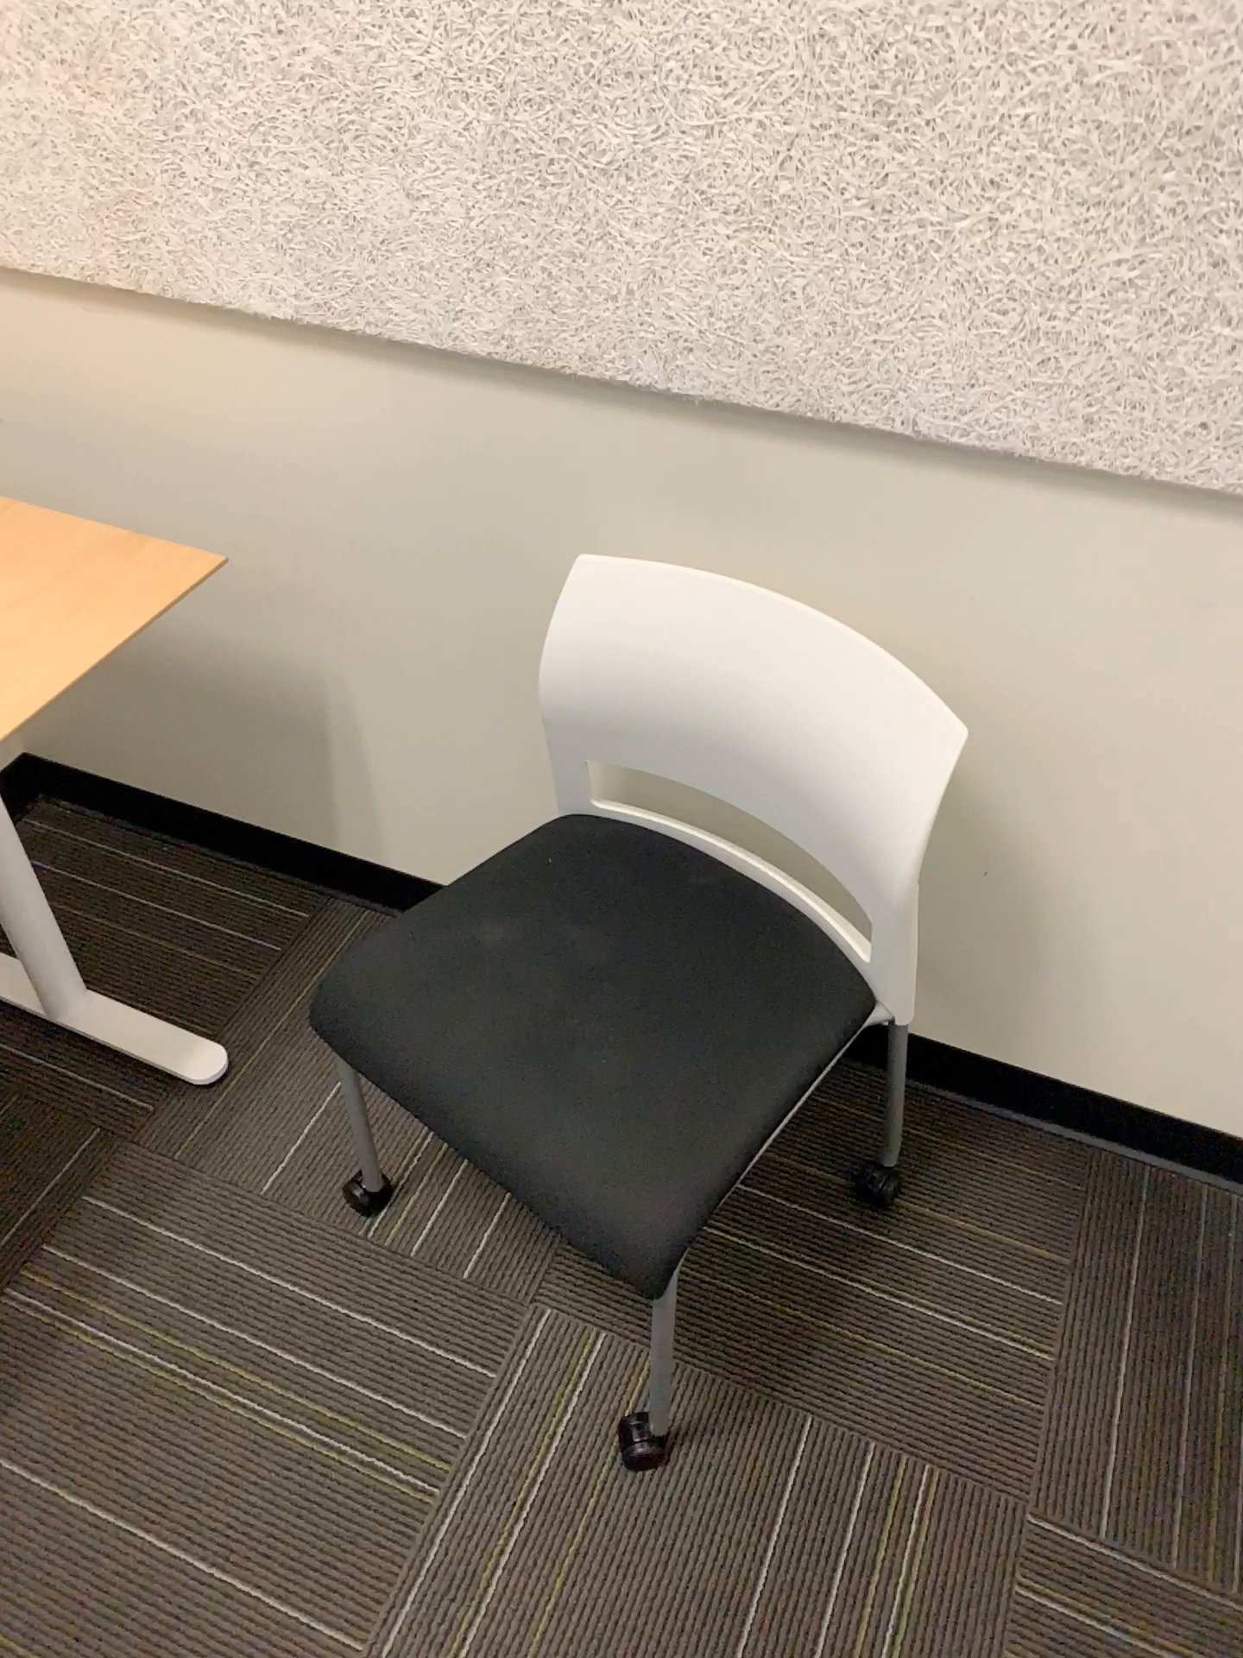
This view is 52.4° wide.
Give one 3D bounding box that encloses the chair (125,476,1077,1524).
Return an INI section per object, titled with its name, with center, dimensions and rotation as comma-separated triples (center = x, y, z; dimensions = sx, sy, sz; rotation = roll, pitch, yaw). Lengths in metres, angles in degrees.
[chair]
center = -0.003, 0.170, 1.420
dimensions = 0.622, 0.777, 0.621
rotation = 27, 50, 26
